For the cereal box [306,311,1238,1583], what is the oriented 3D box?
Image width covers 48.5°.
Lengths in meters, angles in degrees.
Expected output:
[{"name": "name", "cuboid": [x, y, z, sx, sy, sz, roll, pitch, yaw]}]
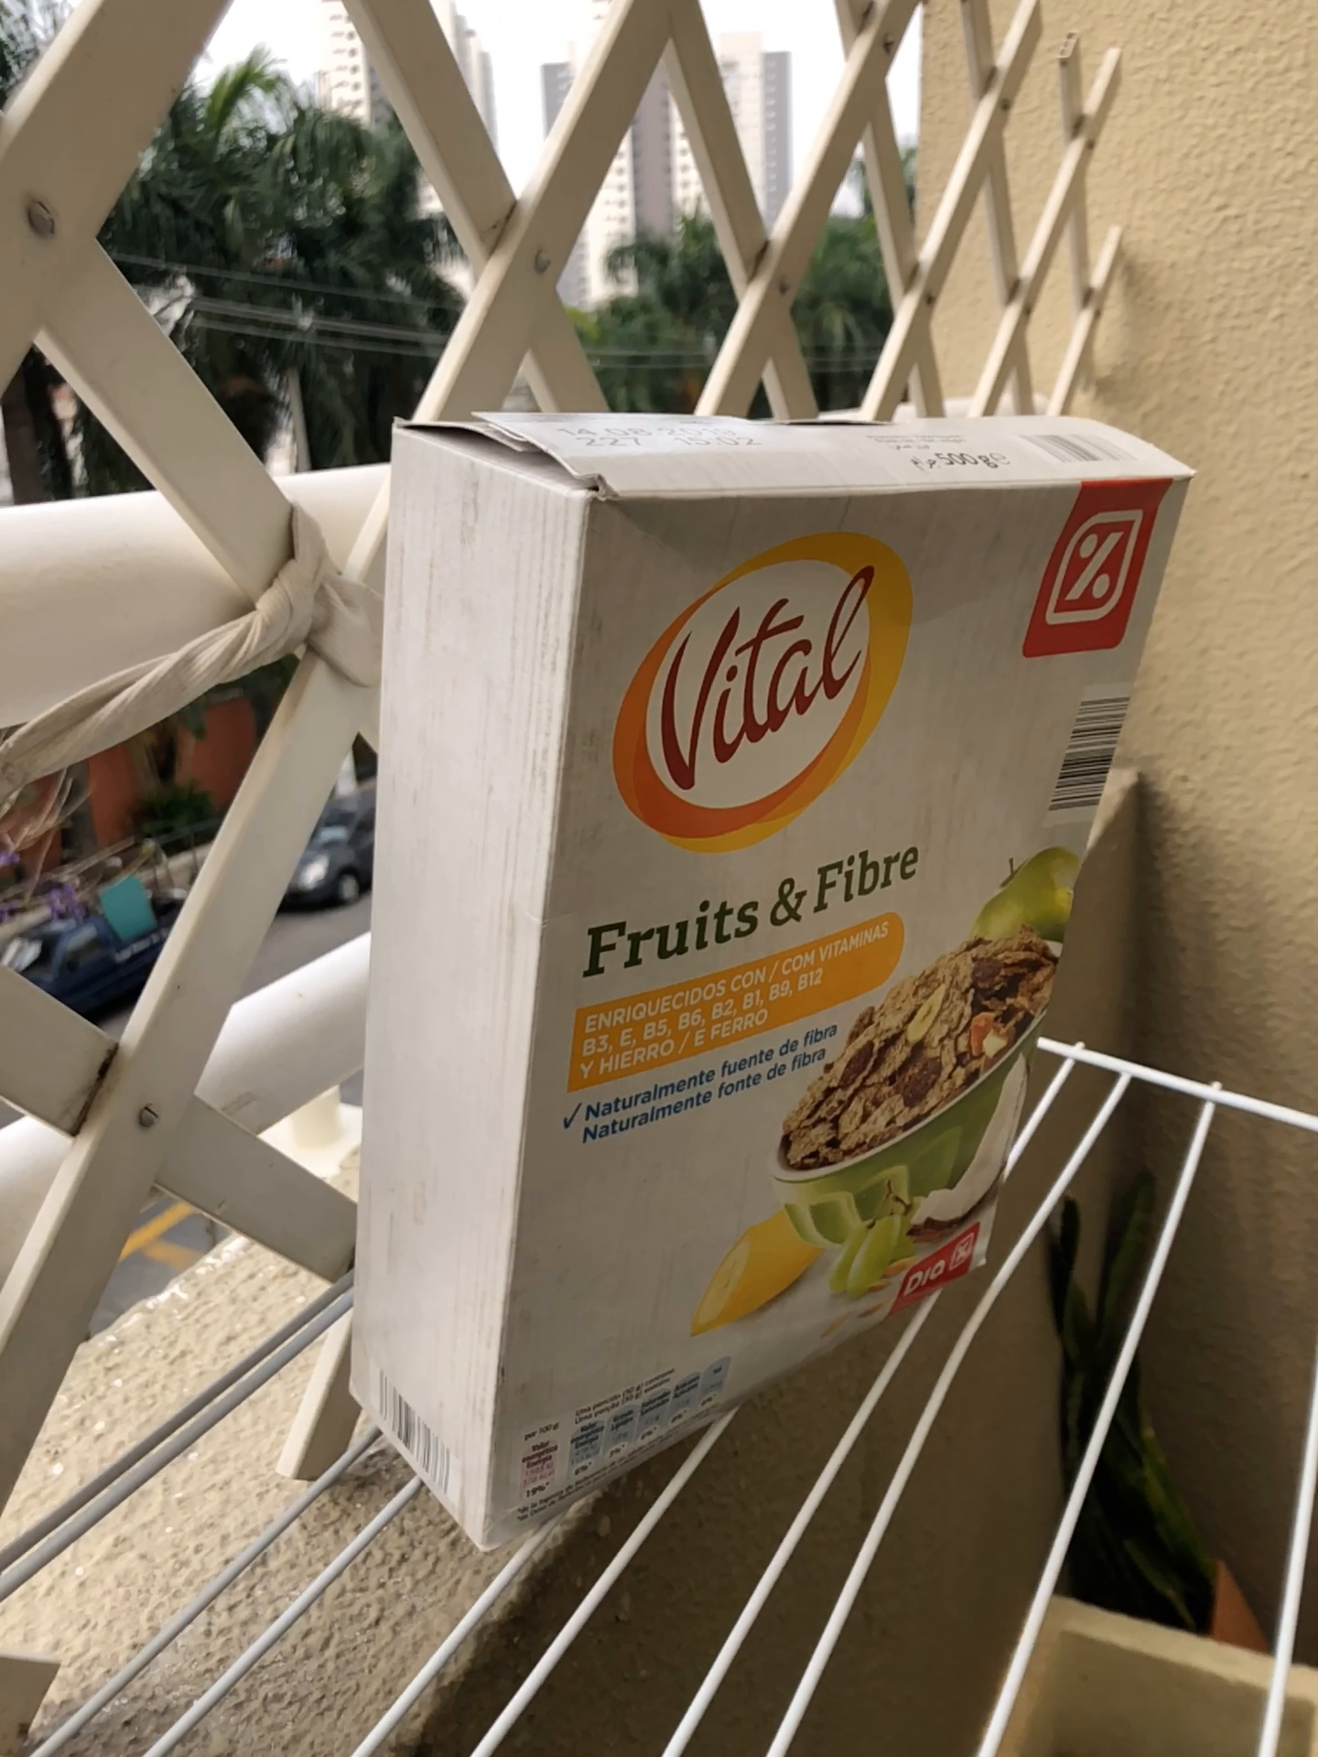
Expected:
[{"name": "cereal box", "cuboid": [0.025, 0.008, 0.372, 0.210, 0.268, 0.070, -14, 32, -38]}]
